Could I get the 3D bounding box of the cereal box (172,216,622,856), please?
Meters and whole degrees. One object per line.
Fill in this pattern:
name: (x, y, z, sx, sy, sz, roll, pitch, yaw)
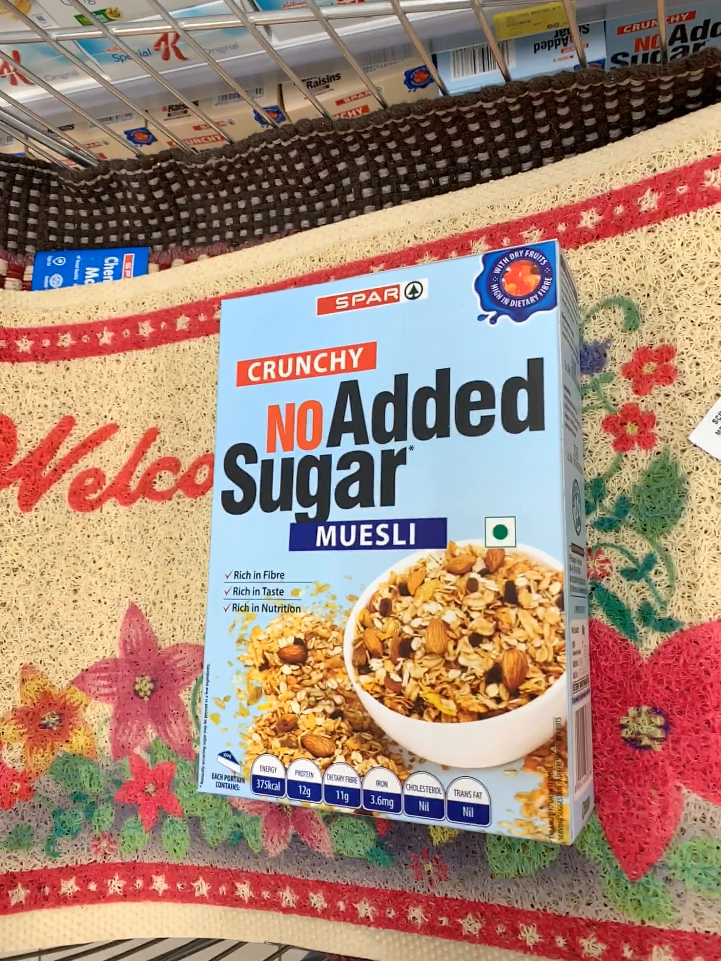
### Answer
cereal box: (0.012, 0.021, 0.326, 0.180, 0.050, 0.230, -4, 79, 25)
